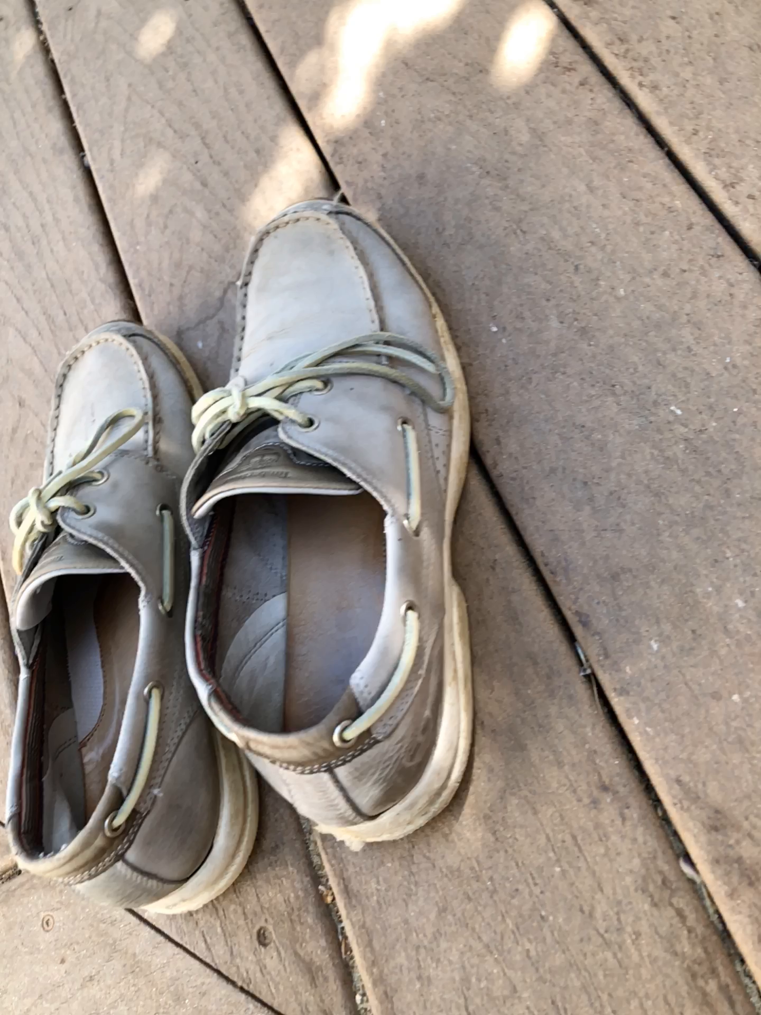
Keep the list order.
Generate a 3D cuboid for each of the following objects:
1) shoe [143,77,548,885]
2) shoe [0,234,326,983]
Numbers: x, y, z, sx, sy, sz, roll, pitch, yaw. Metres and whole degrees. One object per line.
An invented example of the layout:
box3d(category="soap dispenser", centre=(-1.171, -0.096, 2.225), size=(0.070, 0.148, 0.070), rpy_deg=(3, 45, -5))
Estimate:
box3d(category="shoe", centre=(-0.024, -0.012, 0.371), size=(0.122, 0.097, 0.312), rpy_deg=(-15, 68, 22))
box3d(category="shoe", centre=(-0.134, 0.038, 0.411), size=(0.119, 0.095, 0.310), rpy_deg=(-24, 64, 18))
